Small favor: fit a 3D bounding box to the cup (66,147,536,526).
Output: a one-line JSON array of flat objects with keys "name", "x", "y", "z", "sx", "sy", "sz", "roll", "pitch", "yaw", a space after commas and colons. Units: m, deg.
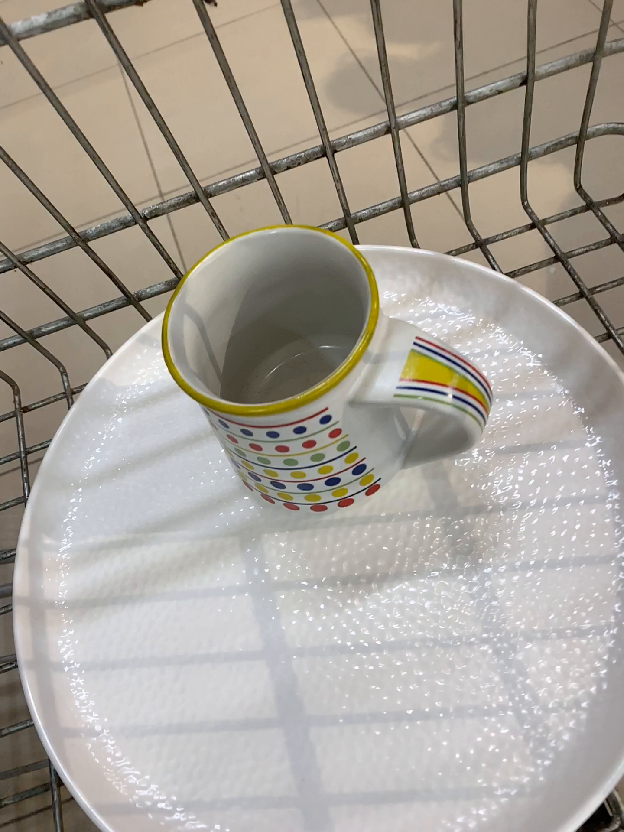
[{"name": "cup", "x": 0.005, "y": -0.019, "z": 0.222, "sx": 0.120, "sy": 0.100, "sz": 0.080, "roll": 0, "pitch": 62, "yaw": 12}]
